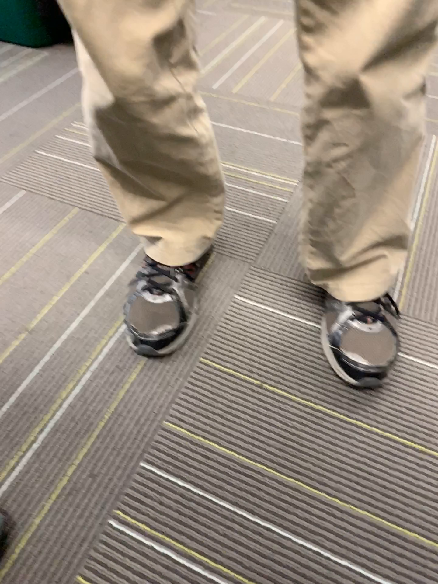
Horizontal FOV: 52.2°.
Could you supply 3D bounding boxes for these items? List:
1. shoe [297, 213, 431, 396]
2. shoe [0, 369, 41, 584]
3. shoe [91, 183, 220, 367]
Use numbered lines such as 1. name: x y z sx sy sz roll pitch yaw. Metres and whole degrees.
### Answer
1. shoe: 0.216 0.005 0.729 0.130 0.087 0.317 1 48 0
2. shoe: -0.364 0.241 0.490 0.138 0.085 0.280 27 53 22
3. shoe: -0.087 -0.045 0.749 0.134 0.087 0.329 6 48 5
